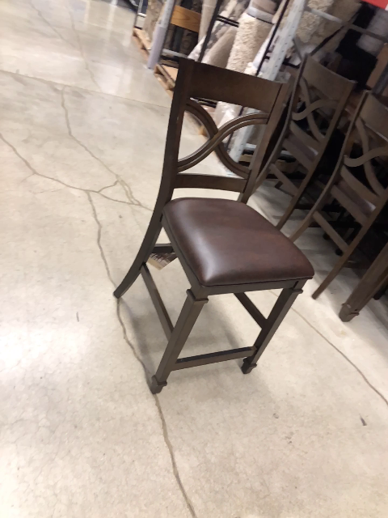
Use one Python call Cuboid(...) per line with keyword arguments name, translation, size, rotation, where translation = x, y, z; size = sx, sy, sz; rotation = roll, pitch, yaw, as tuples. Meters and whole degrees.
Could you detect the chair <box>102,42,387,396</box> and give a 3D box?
Cuboid(name="chair", translation=(0.091, -0.108, 1.596), size=(0.492, 1.027, 0.650), rotation=(-2, 42, -32))
